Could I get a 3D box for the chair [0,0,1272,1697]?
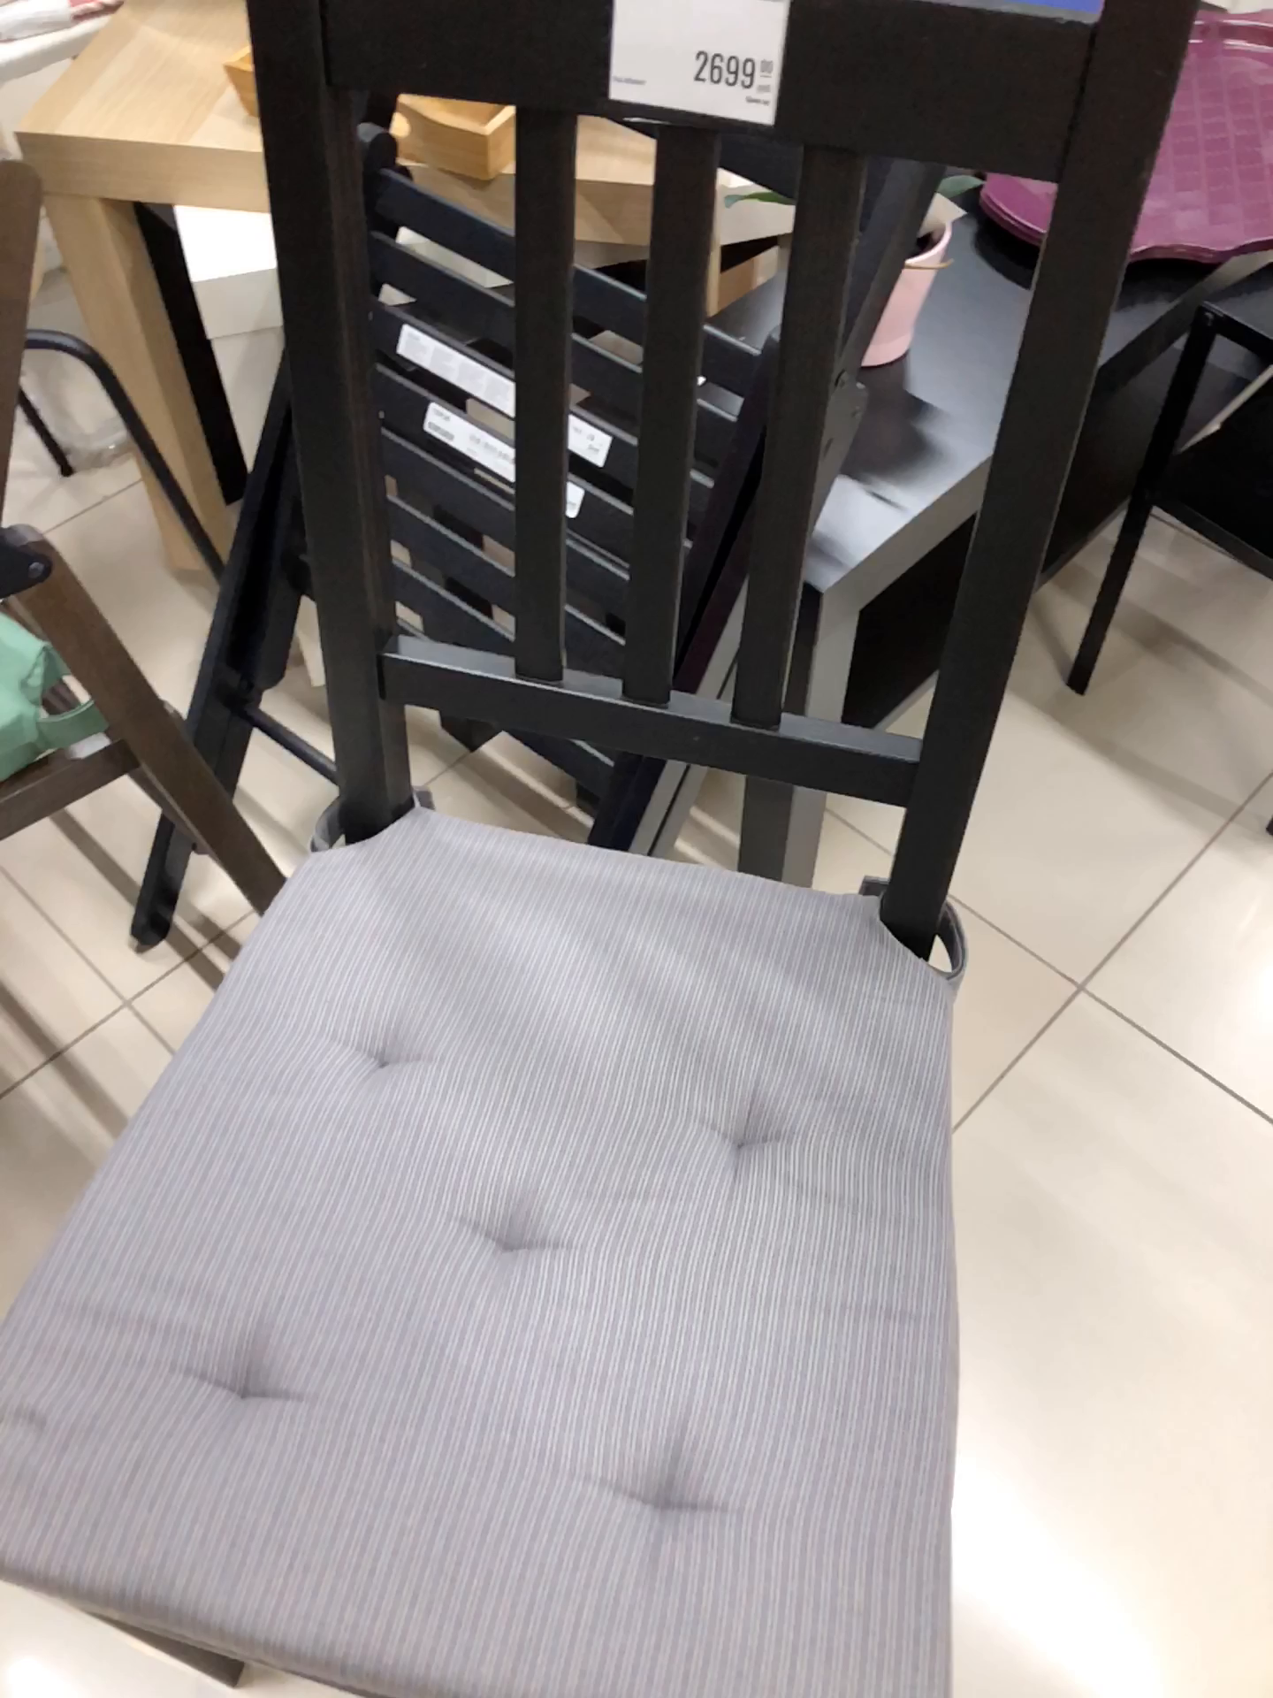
[{"bbox_3d":[-0.042,0.152,0.666,0.410,0.895,0.493,12,54,9],"label":"chair"}]
